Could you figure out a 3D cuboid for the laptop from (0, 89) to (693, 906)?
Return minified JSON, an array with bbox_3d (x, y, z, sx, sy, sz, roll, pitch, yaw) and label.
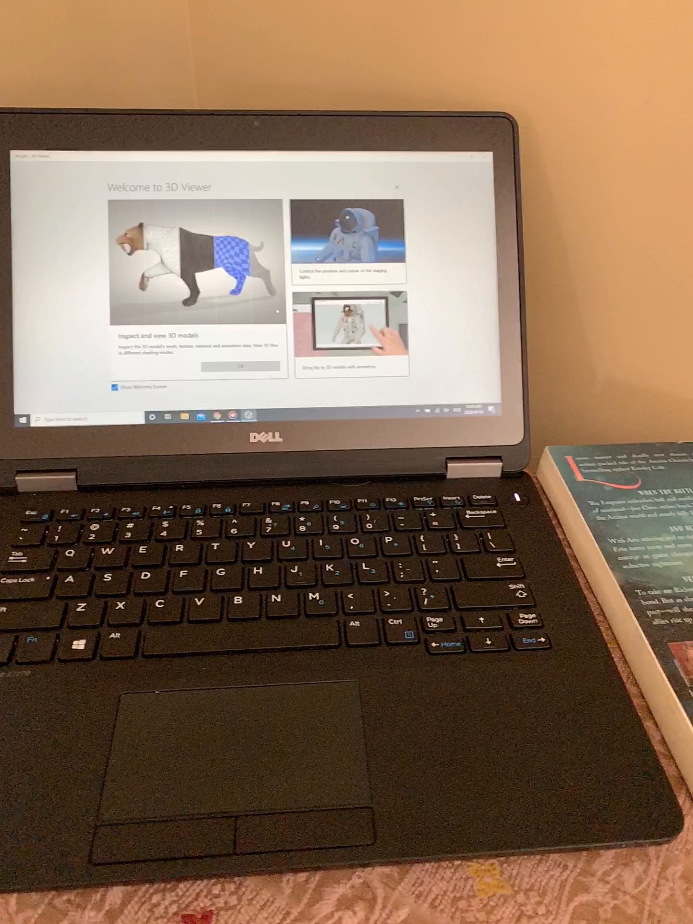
[{"bbox_3d":[-0.051,-0.048,0.400,0.365,0.186,0.424,-2,41,-4],"label":"laptop"}]
